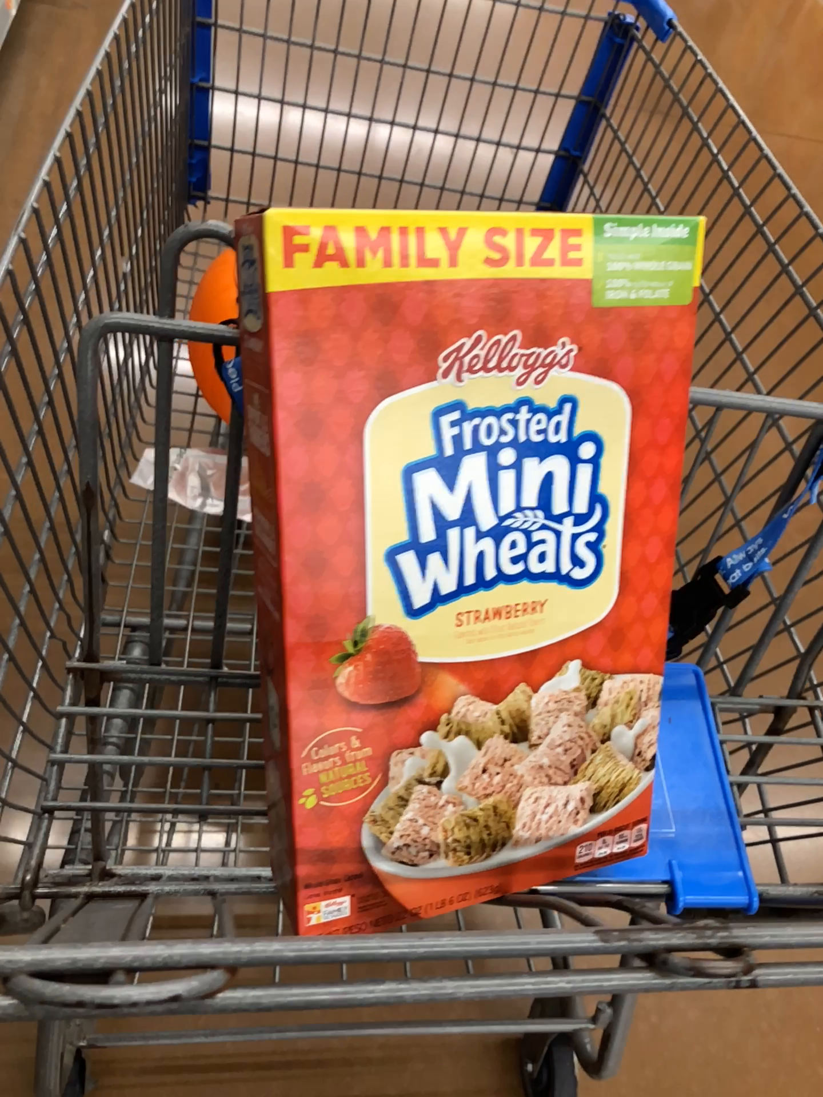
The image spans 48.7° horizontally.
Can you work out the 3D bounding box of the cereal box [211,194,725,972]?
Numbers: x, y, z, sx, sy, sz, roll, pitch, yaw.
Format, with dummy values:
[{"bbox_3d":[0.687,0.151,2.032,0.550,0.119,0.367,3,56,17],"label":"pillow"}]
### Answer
[{"bbox_3d":[0.029,0.011,0.420,0.200,0.320,0.070,-8,18,-21],"label":"cereal box"}]
